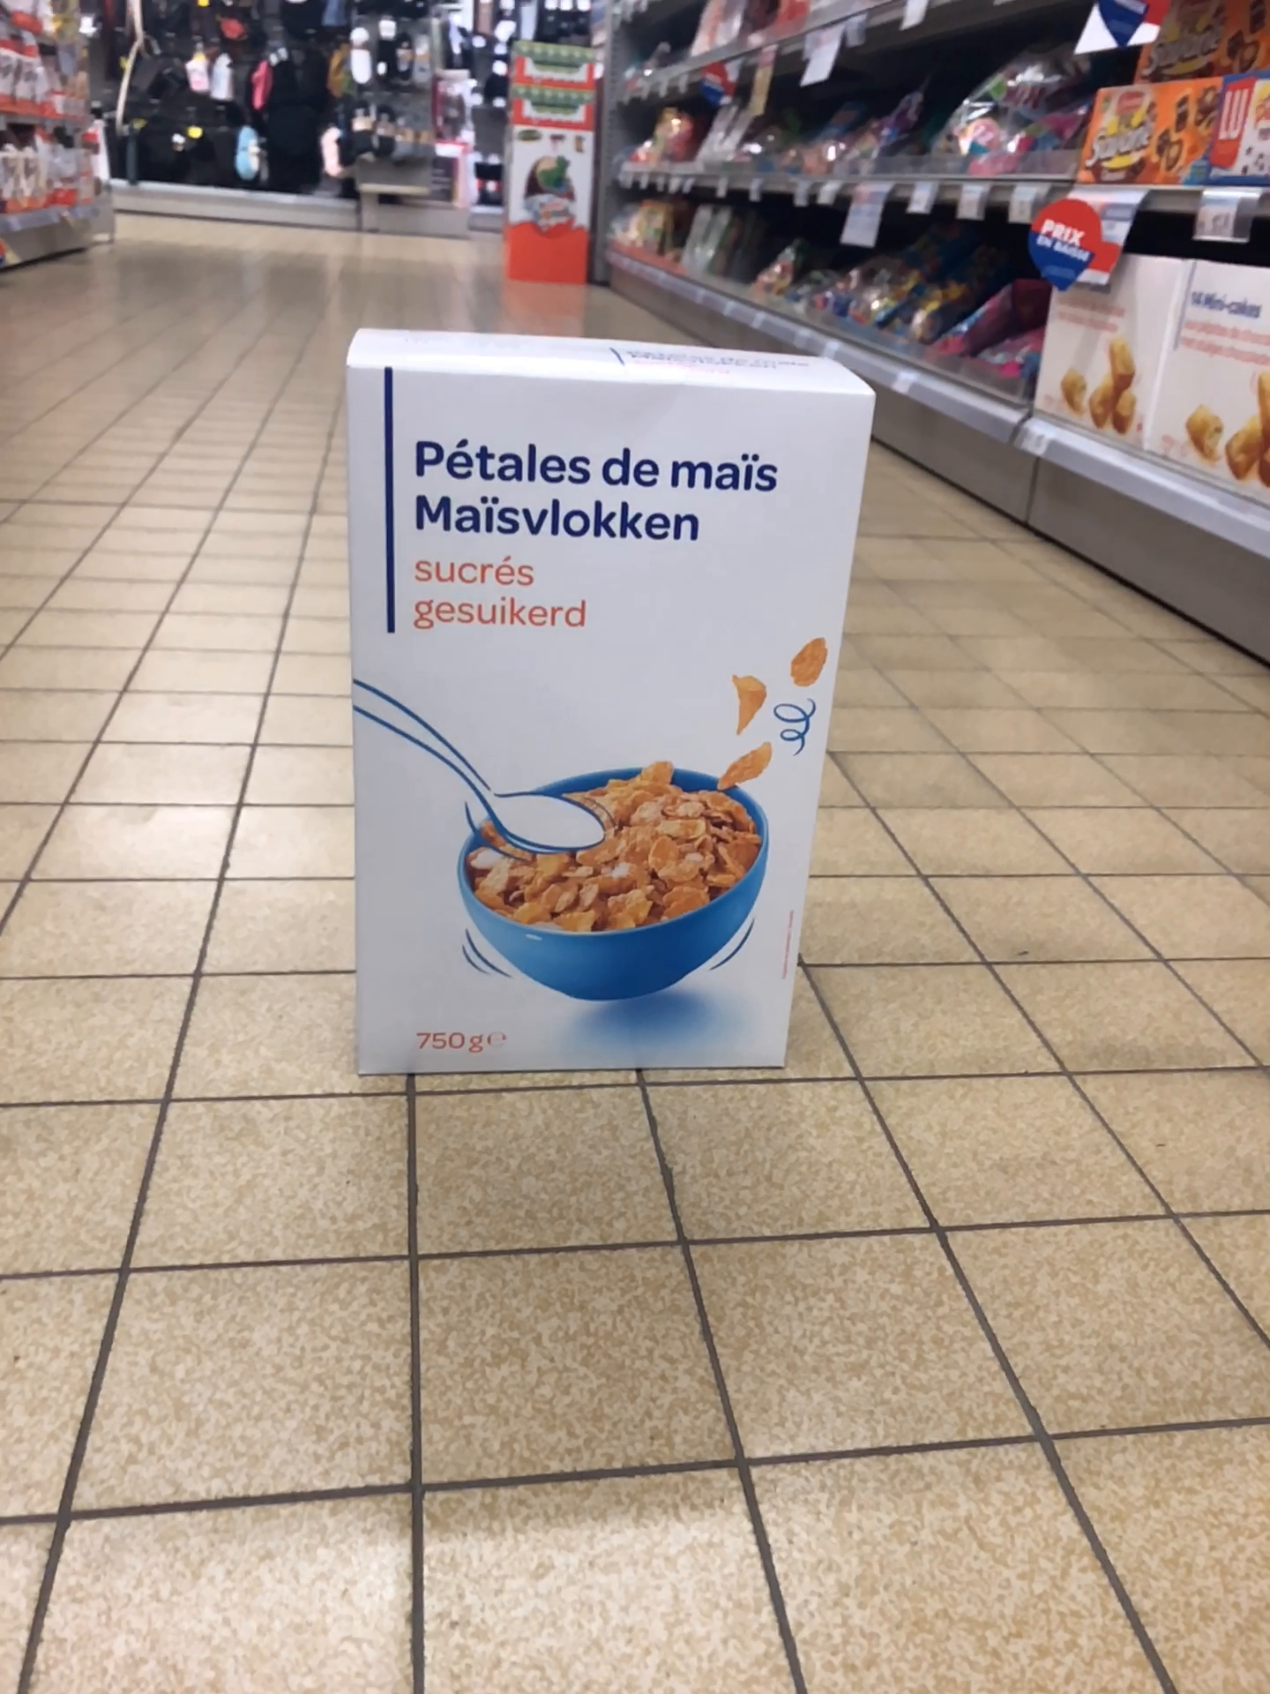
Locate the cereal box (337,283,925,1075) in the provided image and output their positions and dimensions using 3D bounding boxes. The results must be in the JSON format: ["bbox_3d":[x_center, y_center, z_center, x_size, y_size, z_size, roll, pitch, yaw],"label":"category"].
[{"bbox_3d":[-0.016,-0.063,0.581,0.200,0.298,0.111,1,24,-8],"label":"cereal box"}]
